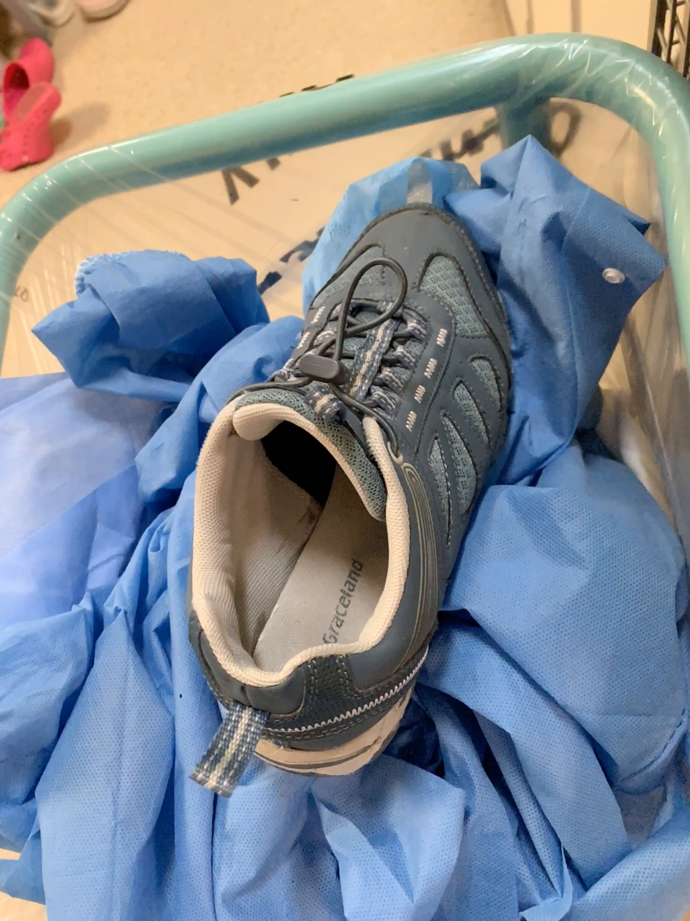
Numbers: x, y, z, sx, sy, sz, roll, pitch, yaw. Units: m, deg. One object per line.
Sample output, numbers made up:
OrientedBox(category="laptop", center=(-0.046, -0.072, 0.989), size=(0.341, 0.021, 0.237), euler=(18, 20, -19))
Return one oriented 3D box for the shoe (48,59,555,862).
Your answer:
OrientedBox(category="shoe", center=(0.004, -0.007, 0.271), size=(0.102, 0.109, 0.240), euler=(10, 77, 21))
